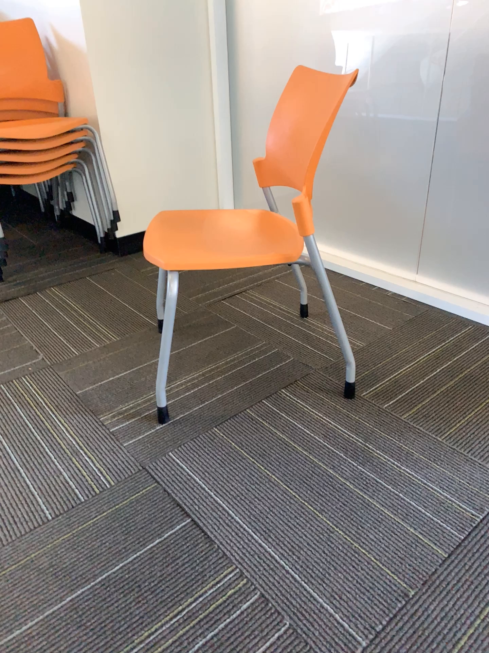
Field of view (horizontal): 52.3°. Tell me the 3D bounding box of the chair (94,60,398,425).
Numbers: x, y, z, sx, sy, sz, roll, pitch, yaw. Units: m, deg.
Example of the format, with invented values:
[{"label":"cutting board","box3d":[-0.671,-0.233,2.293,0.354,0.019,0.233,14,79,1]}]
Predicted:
[{"label":"chair","box3d":[-0.032,-0.299,1.438,0.580,0.805,0.714,-6,29,-7]}]
